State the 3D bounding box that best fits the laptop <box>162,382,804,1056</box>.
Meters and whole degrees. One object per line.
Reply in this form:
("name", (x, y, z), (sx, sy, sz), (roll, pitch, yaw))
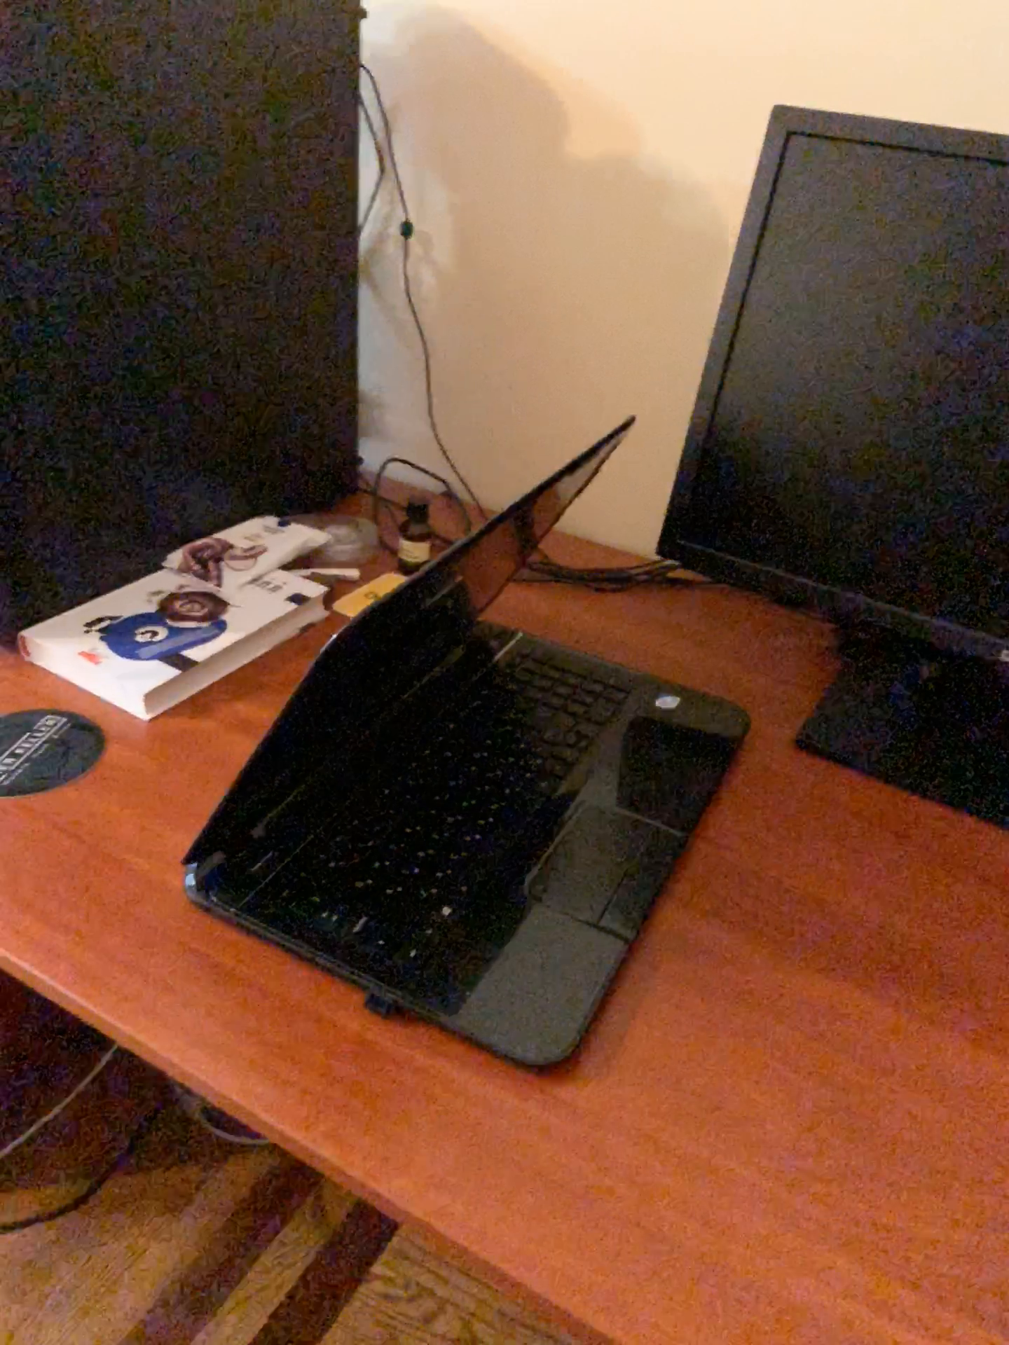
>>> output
("laptop", (0.009, -0.011, 0.622), (0.222, 0.198, 0.350), (19, 36, 20))
